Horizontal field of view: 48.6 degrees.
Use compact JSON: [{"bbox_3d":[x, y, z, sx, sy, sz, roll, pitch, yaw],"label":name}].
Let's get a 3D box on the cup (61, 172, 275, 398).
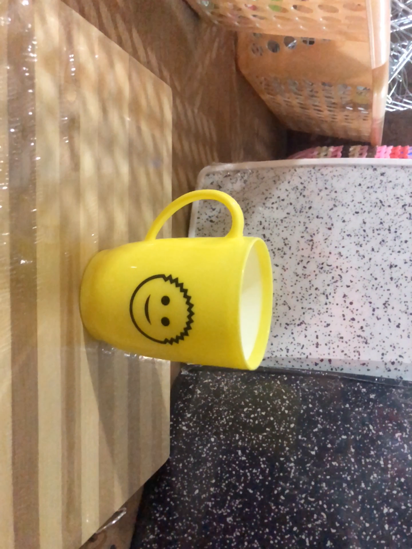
[{"bbox_3d":[-0.017,0.002,0.274,0.081,0.099,0.110,-15,105,-69],"label":"cup"}]
